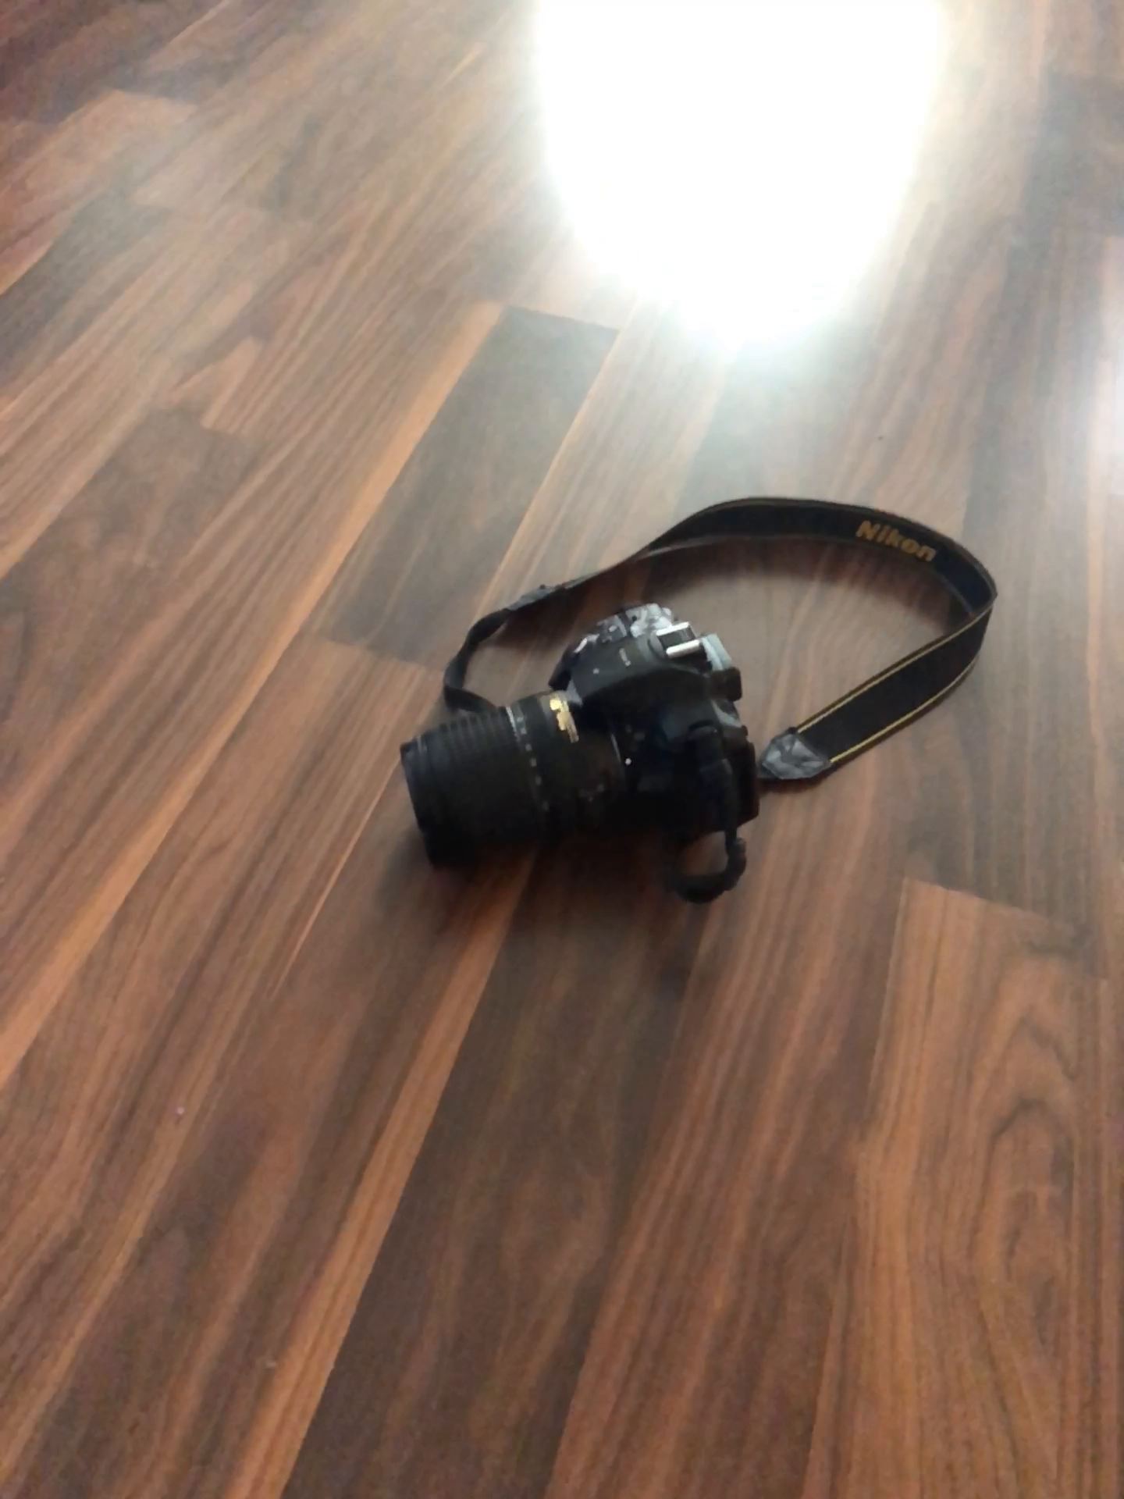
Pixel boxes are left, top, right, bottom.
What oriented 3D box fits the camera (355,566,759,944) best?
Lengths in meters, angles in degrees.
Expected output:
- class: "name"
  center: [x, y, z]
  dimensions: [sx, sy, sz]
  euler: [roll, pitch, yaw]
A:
- class: "camera"
  center: [-0.004, 0.004, 0.674]
  dimensions: [0.180, 0.130, 0.110]
  euler: [-14, 52, -9]
